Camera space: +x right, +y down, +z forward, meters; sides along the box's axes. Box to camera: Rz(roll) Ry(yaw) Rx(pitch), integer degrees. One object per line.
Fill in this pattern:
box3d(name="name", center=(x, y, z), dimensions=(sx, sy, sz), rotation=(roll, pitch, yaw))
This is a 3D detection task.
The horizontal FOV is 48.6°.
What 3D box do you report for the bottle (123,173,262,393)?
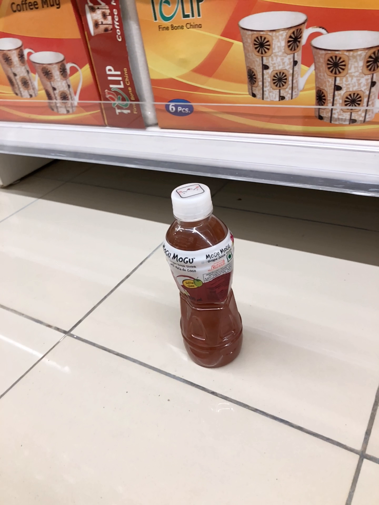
box3d(name="bottle", center=(0.008, 0.026, 0.357), dimensions=(0.070, 0.159, 0.070), rotation=(-6, 33, 4))
